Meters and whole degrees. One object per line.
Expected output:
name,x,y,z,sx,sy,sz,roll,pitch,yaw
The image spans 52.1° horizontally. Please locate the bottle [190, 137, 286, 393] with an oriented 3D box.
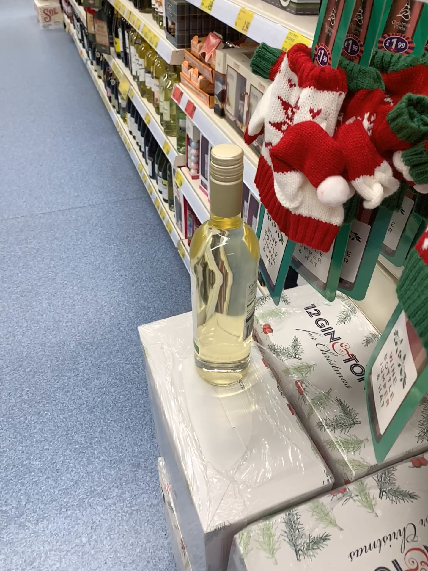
bottle,0.019,-0.004,0.475,0.073,0.285,0.073,1,41,-1
